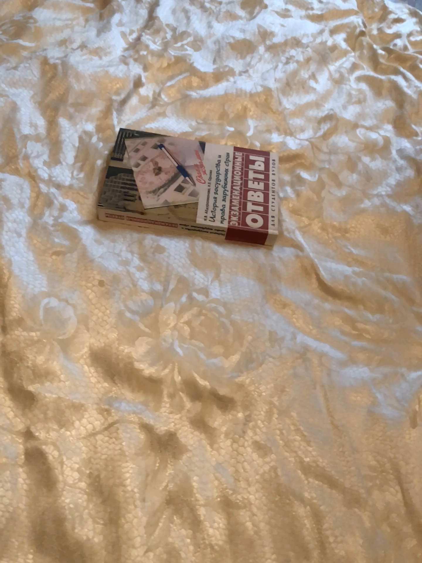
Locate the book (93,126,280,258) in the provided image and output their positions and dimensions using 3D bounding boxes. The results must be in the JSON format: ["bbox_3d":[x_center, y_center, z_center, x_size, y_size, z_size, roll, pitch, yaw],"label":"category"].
[{"bbox_3d":[-0.022,-0.113,0.575,0.210,0.030,0.151,8,58,-3],"label":"book"}]
